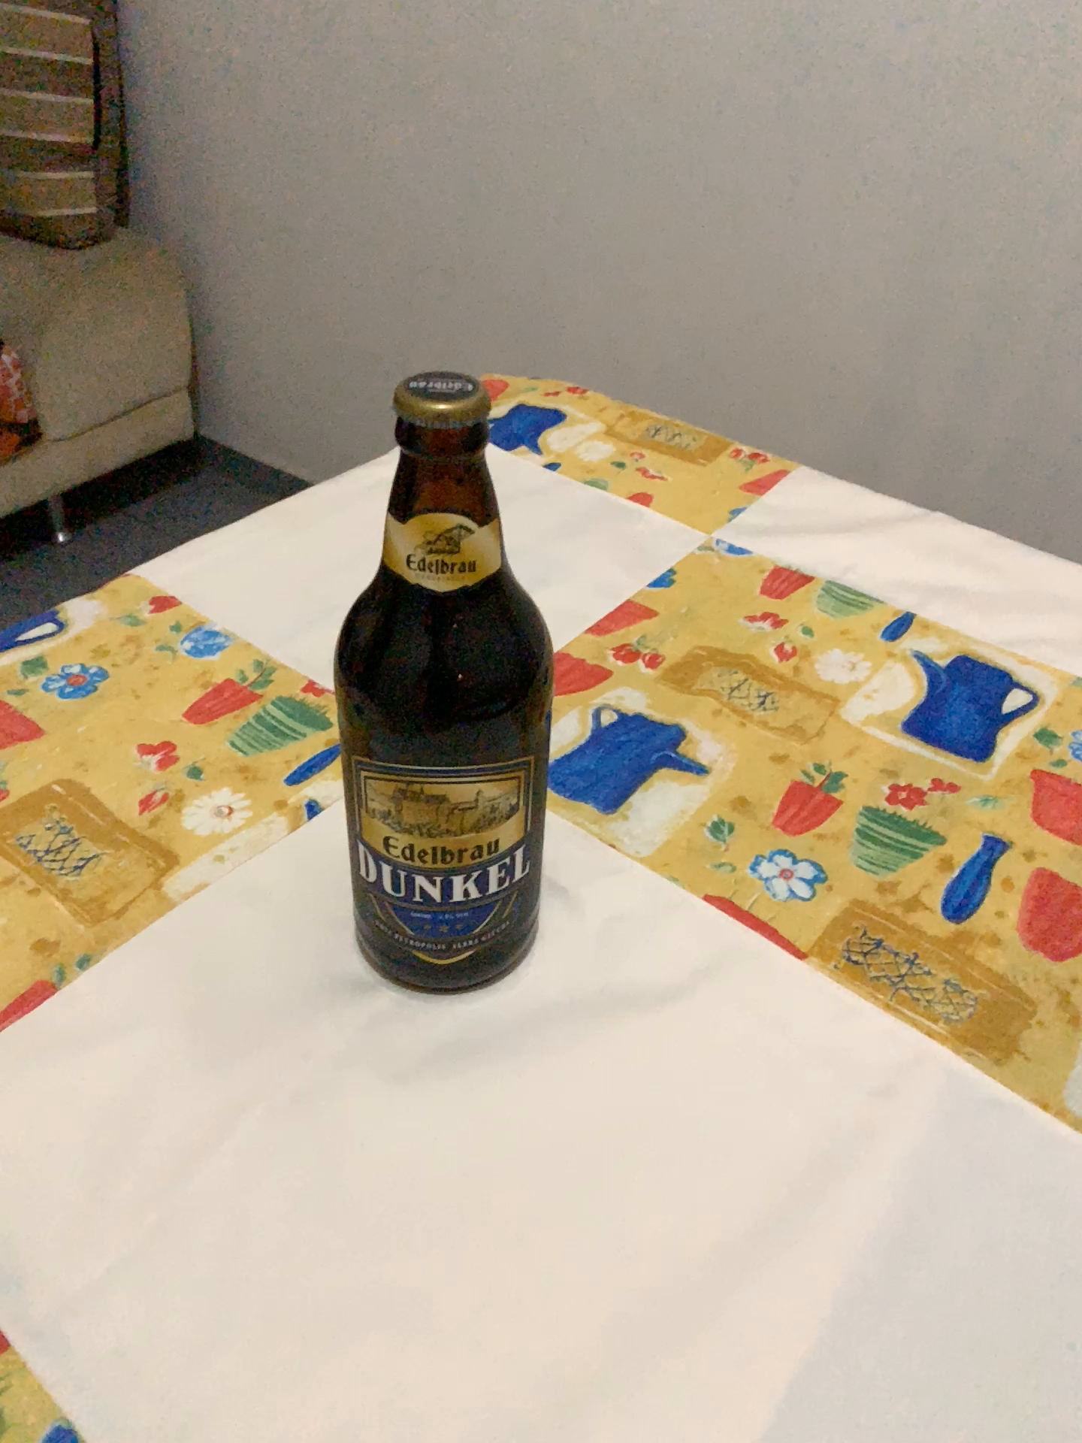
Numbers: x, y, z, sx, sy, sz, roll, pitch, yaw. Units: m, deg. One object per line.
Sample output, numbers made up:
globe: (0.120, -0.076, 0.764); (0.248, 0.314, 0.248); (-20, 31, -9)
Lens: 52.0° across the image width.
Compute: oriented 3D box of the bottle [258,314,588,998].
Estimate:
bottle: (-0.036, -0.011, 0.370); (0.080, 0.219, 0.080); (2, 38, -2)
